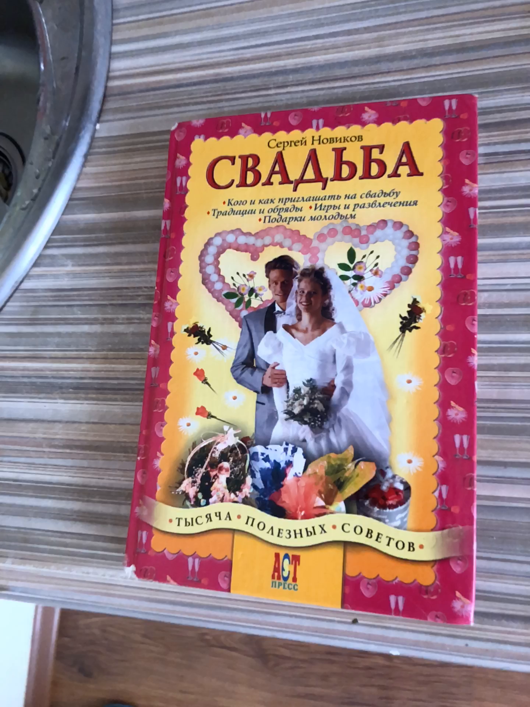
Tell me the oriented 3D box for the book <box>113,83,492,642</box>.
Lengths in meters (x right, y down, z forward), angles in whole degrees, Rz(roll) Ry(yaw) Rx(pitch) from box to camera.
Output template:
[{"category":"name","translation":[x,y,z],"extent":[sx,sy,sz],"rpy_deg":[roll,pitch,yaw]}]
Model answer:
[{"category":"book","translation":[0.018,-0.006,0.257],"extent":[0.150,0.020,0.220],"rpy_deg":[1,79,16]}]
